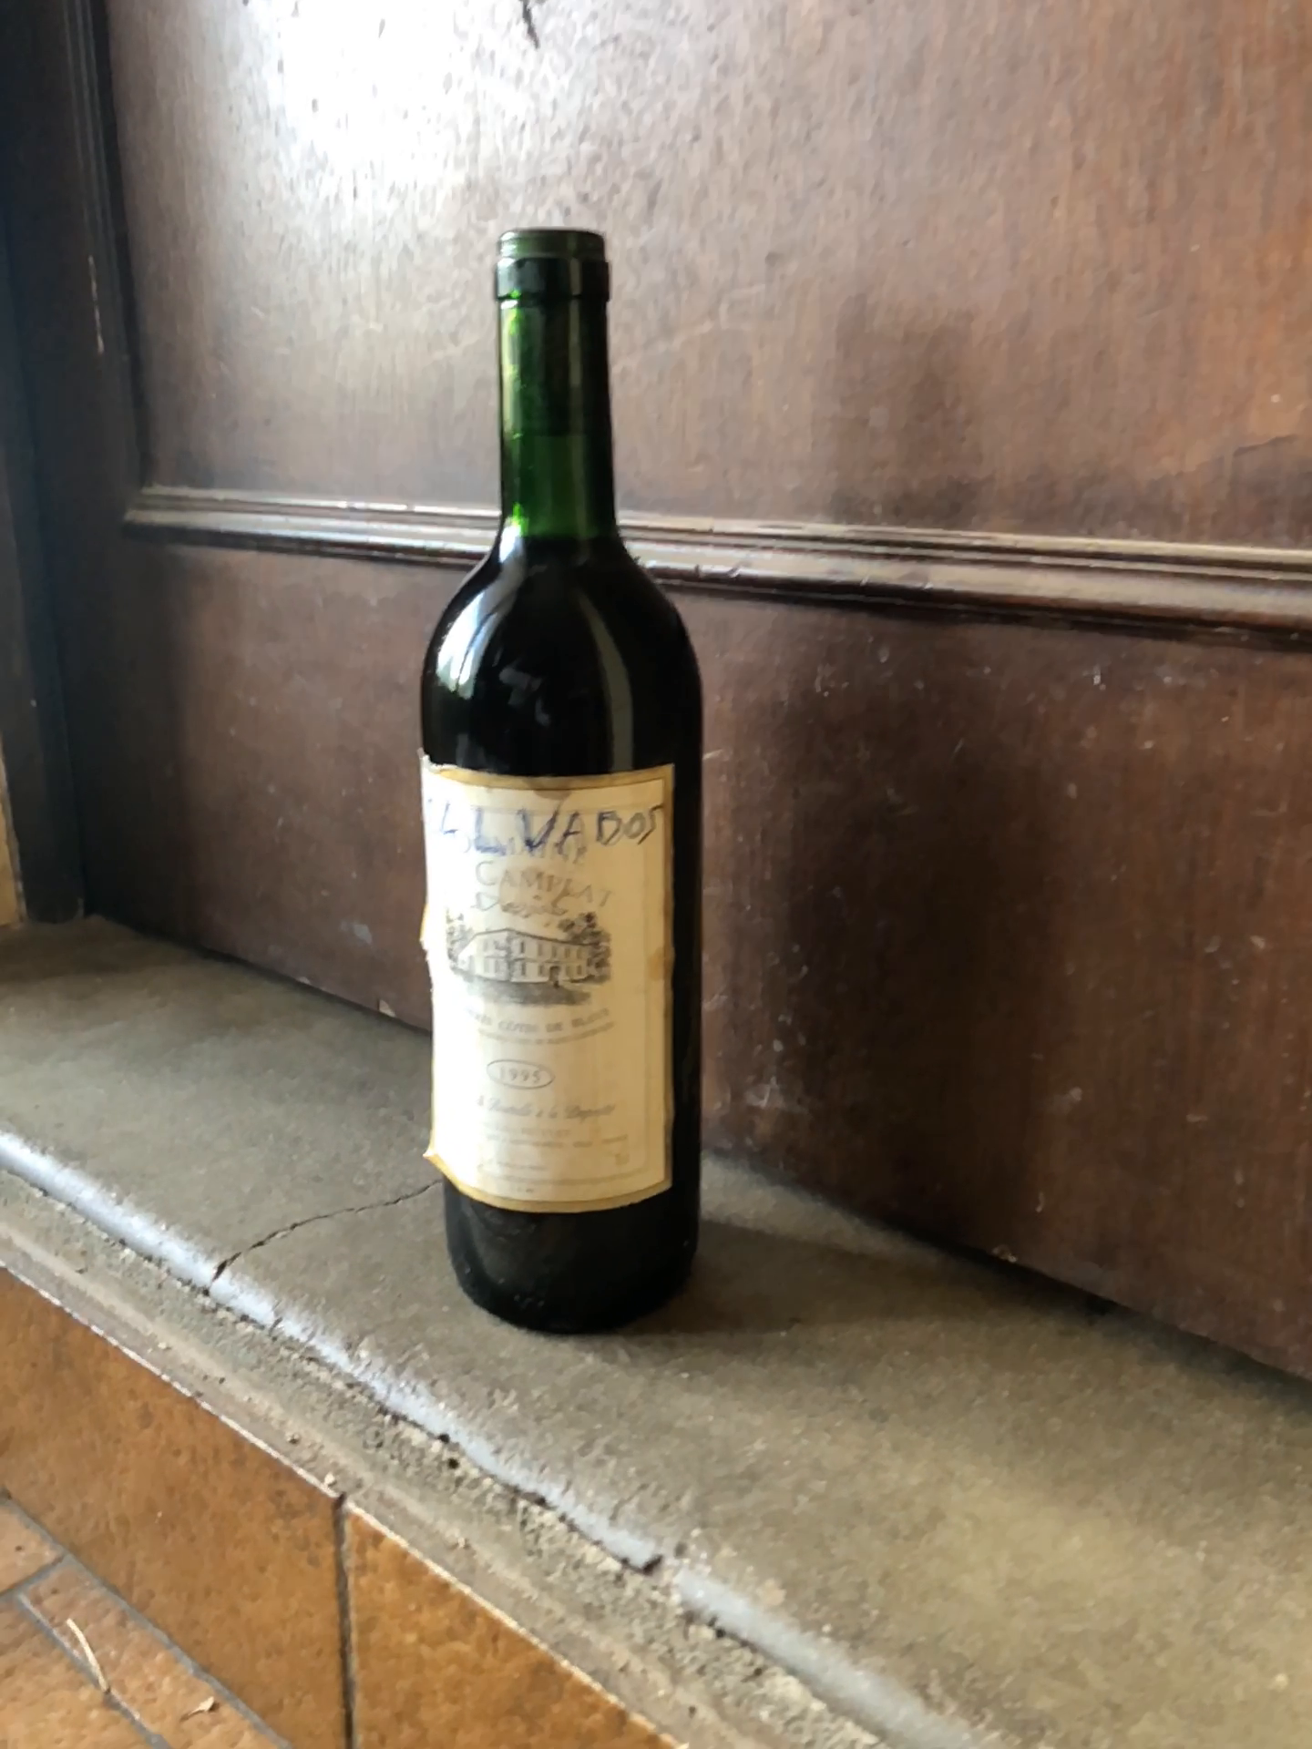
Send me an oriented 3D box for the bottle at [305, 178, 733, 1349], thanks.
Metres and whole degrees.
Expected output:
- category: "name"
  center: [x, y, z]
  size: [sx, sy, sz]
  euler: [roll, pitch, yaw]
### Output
- category: "bottle"
  center: [-0.028, -0.024, 0.384]
  size: [0.080, 0.279, 0.080]
  euler: [0, 17, 0]
